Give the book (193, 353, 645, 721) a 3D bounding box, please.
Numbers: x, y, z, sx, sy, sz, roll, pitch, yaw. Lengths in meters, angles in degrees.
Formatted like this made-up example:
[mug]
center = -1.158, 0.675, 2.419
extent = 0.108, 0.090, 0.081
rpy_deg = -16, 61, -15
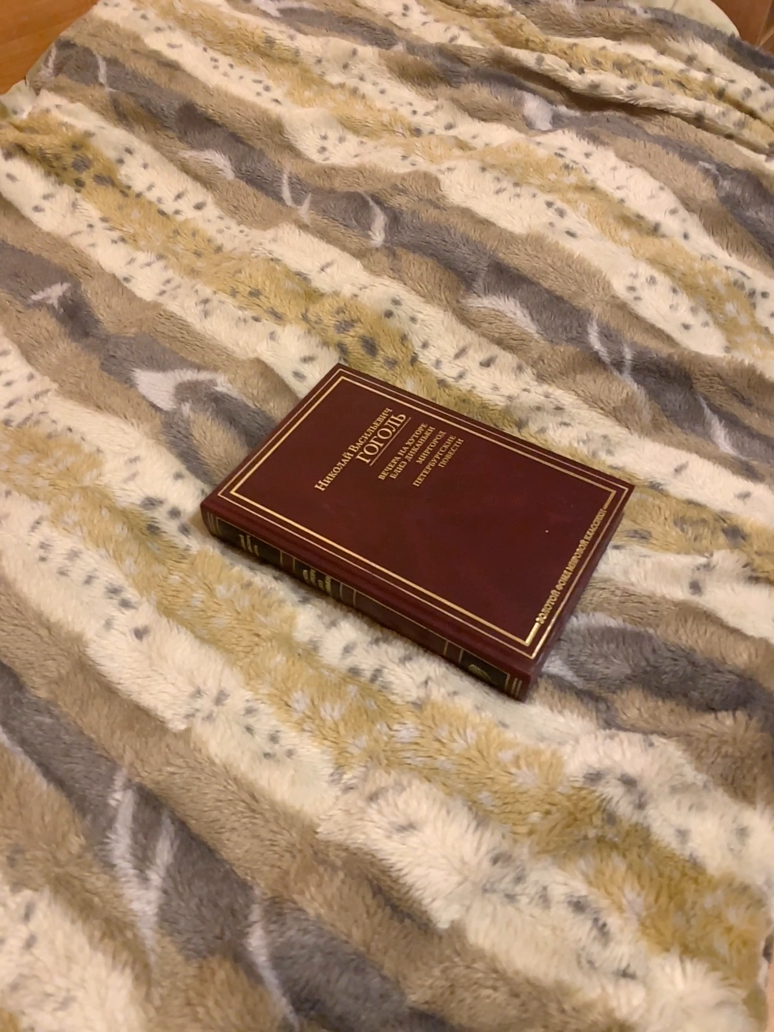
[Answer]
[book]
center = 0.020, -0.001, 0.463
extent = 0.210, 0.040, 0.150
rpy_deg = 26, 56, 17
